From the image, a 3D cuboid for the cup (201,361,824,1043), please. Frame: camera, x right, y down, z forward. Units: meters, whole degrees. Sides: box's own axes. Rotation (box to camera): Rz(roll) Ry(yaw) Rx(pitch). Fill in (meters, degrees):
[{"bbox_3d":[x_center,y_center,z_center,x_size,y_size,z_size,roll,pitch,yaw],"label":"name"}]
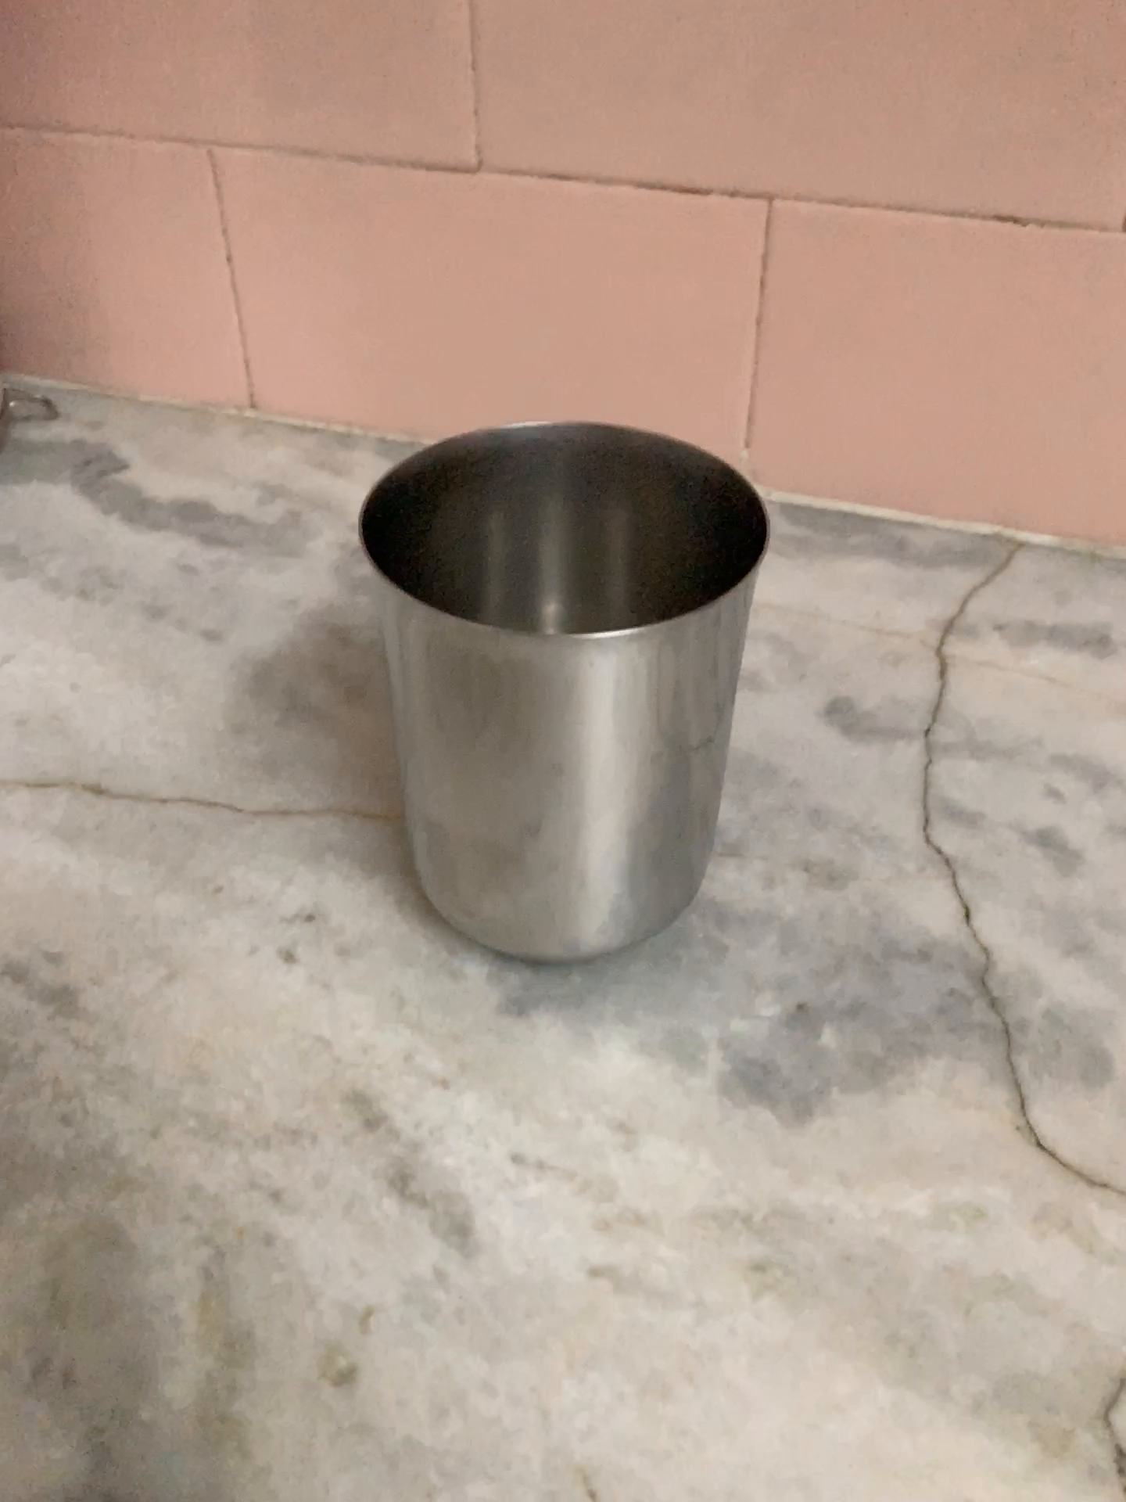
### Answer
[{"bbox_3d":[-0.007,-0.014,0.238,0.080,0.090,0.080,0,41,0],"label":"cup"}]
